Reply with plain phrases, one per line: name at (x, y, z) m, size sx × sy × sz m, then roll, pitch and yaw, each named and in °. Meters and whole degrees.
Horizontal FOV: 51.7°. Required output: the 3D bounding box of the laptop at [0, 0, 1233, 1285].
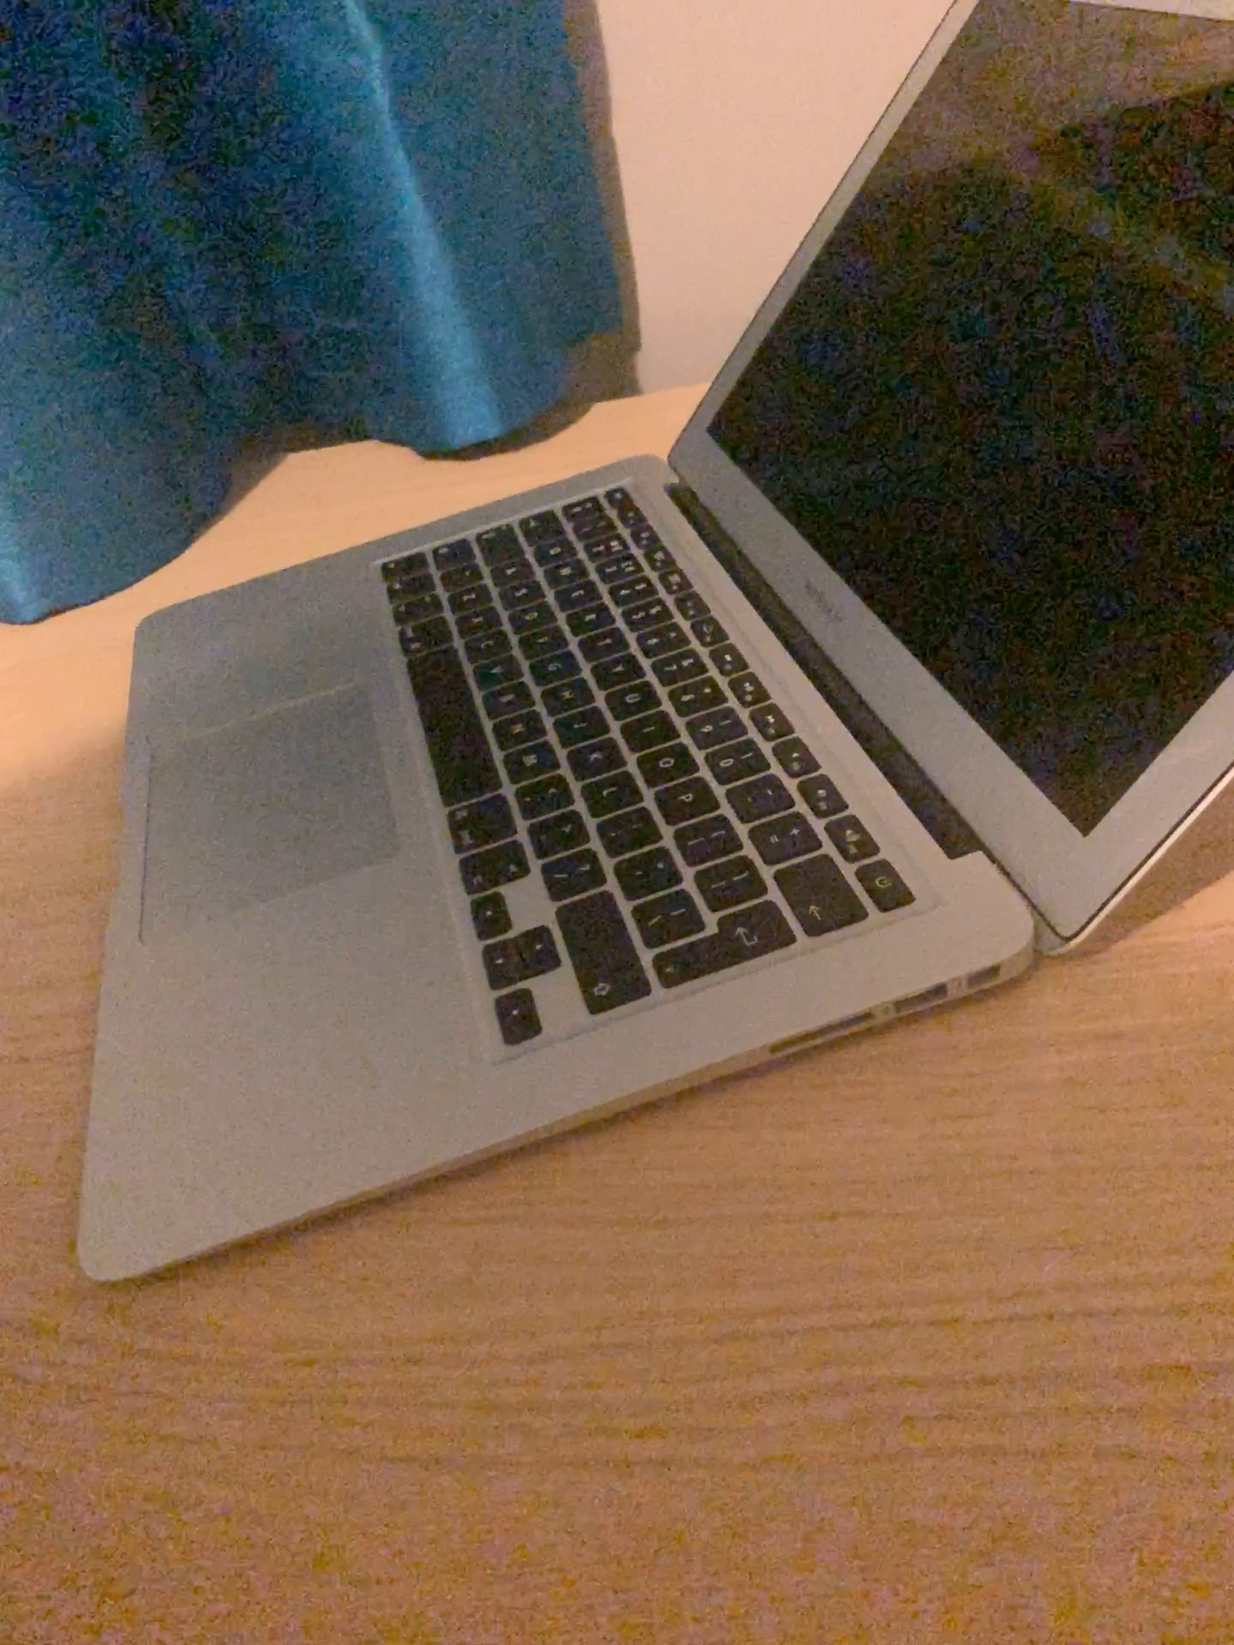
laptop at (0.011, -0.107, 0.353) m, size 0.368 × 0.144 × 0.304 m, roll -18°, pitch 38°, yaw -6°
